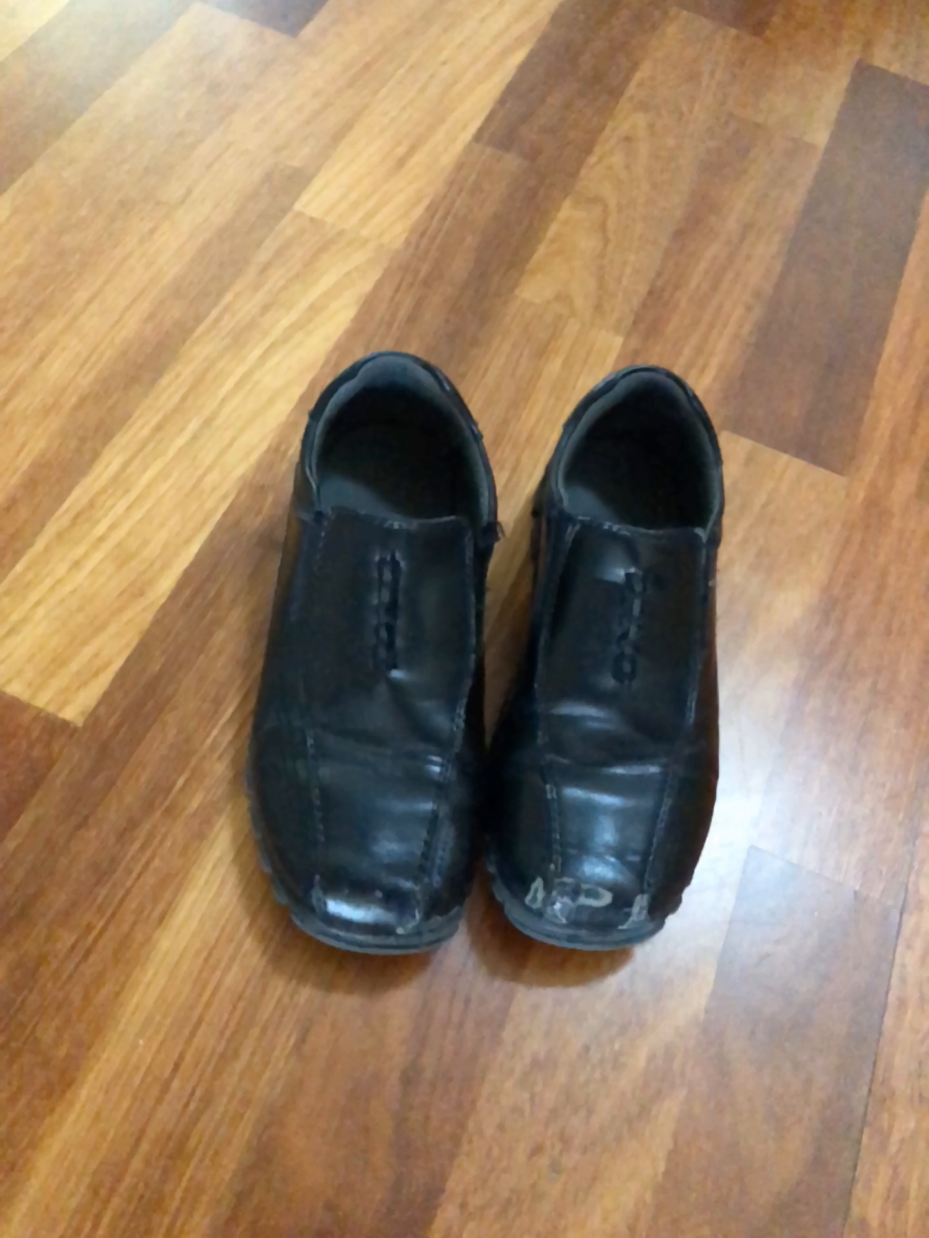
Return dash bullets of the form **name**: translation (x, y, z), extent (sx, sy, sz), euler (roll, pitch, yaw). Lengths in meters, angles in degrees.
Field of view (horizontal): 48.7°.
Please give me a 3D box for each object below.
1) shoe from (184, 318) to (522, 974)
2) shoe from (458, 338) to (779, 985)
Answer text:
- **shoe**: translation (-0.033, 0.003, 0.389), extent (0.094, 0.075, 0.233), euler (6, 60, -5)
- **shoe**: translation (0.063, 0.009, 0.402), extent (0.091, 0.075, 0.233), euler (10, 60, -2)
